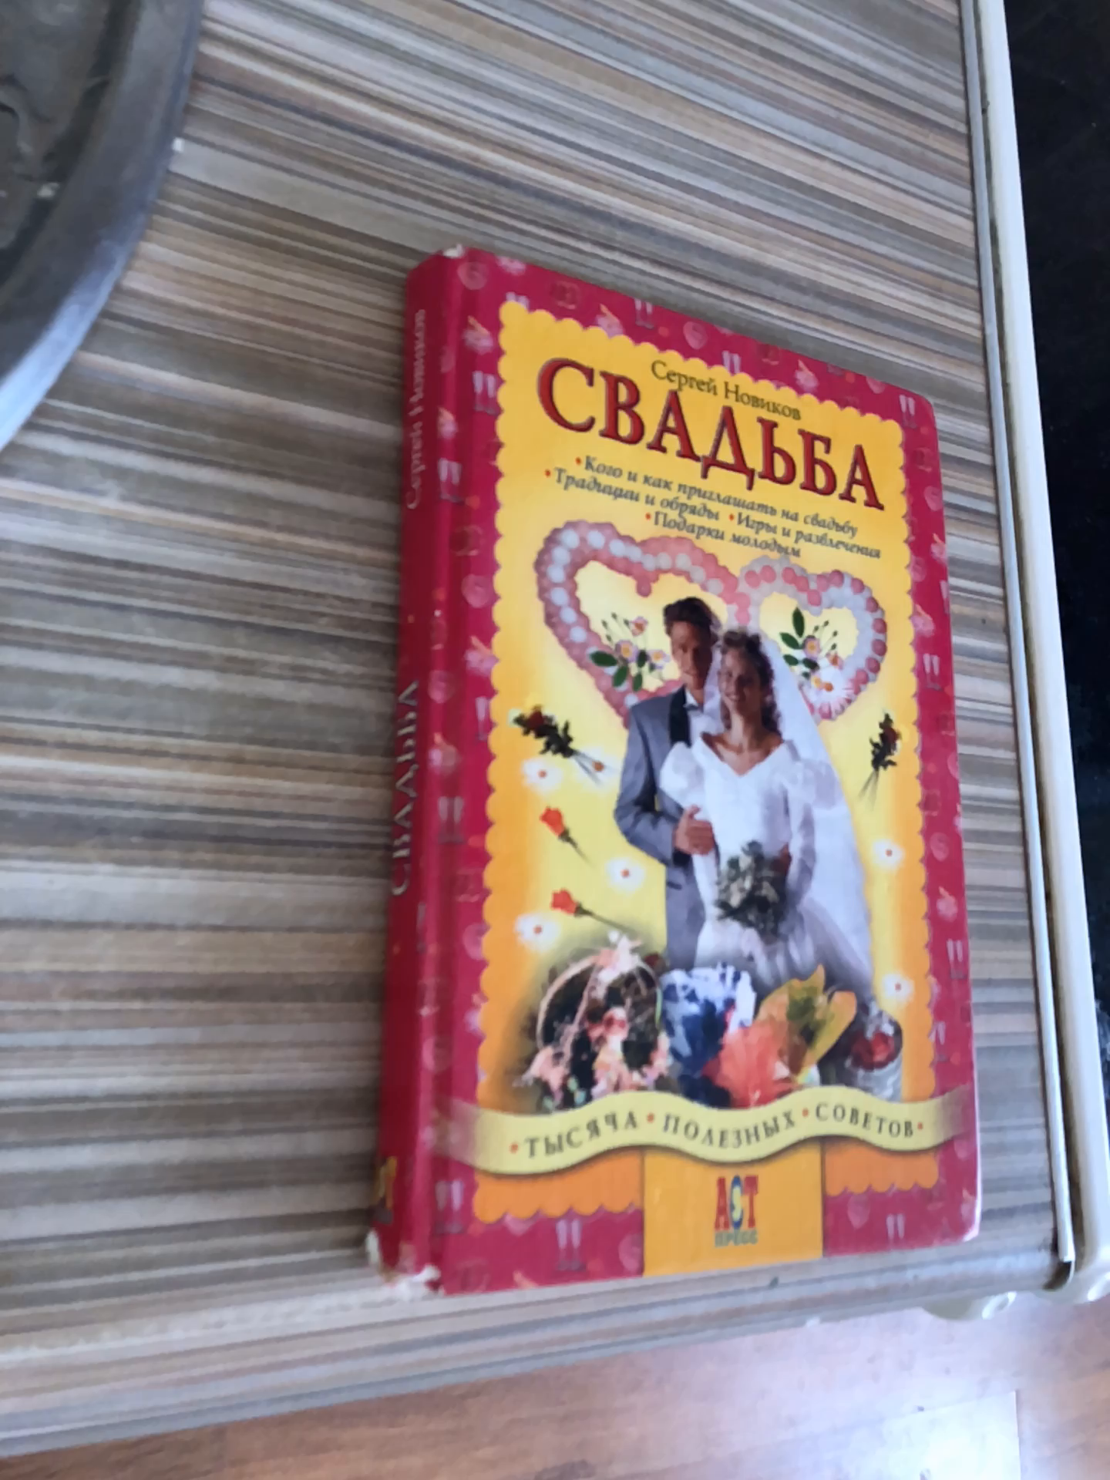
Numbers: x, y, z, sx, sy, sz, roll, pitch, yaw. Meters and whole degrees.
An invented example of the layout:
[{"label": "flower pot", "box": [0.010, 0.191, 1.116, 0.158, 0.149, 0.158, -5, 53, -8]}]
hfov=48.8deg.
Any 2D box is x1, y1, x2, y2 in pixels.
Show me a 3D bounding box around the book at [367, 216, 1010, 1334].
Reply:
[{"label": "book", "box": [0.035, 0.005, 0.281, 0.150, 0.020, 0.220, 7, 76, -28]}]
